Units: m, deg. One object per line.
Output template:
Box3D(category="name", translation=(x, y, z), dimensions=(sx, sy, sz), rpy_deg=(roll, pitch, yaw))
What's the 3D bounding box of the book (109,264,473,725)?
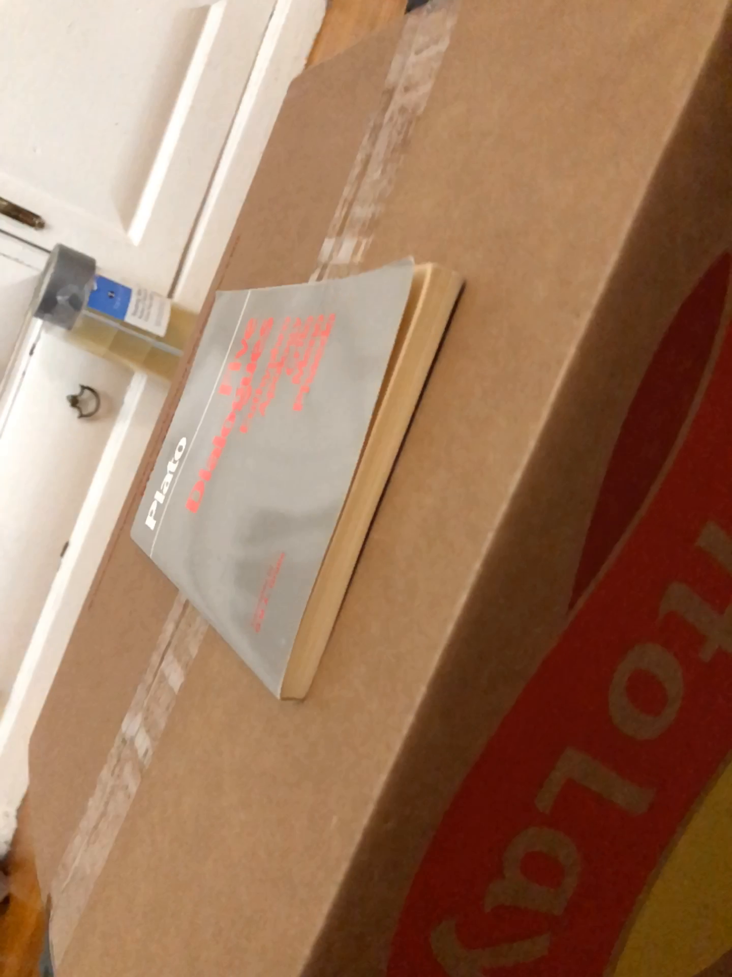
Box3D(category="book", translation=(-0.051, -0.015, 0.338), dimensions=(0.221, 0.020, 0.140), rpy_deg=(19, 88, 60))
